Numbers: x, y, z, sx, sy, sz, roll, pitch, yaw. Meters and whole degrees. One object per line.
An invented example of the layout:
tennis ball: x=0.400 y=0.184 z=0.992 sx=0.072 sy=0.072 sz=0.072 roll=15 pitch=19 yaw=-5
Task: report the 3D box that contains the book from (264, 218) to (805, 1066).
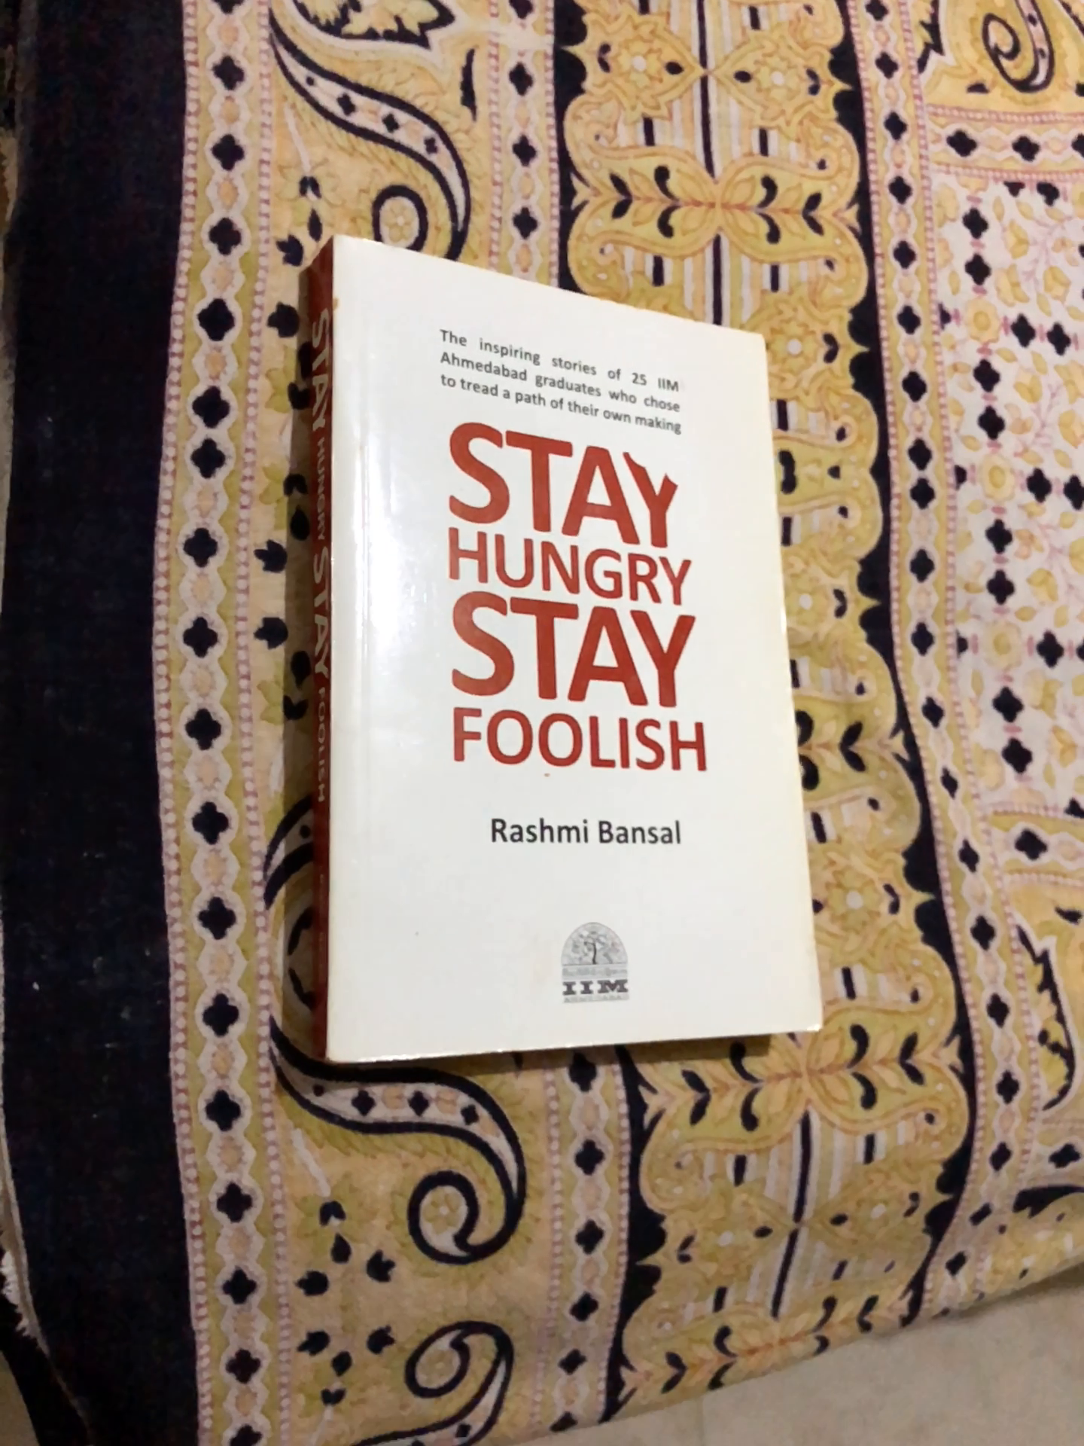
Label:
book: x=-0.001 y=-0.018 z=0.340 sx=0.140 sy=0.040 sz=0.210 roll=4 pitch=79 yaw=-25
